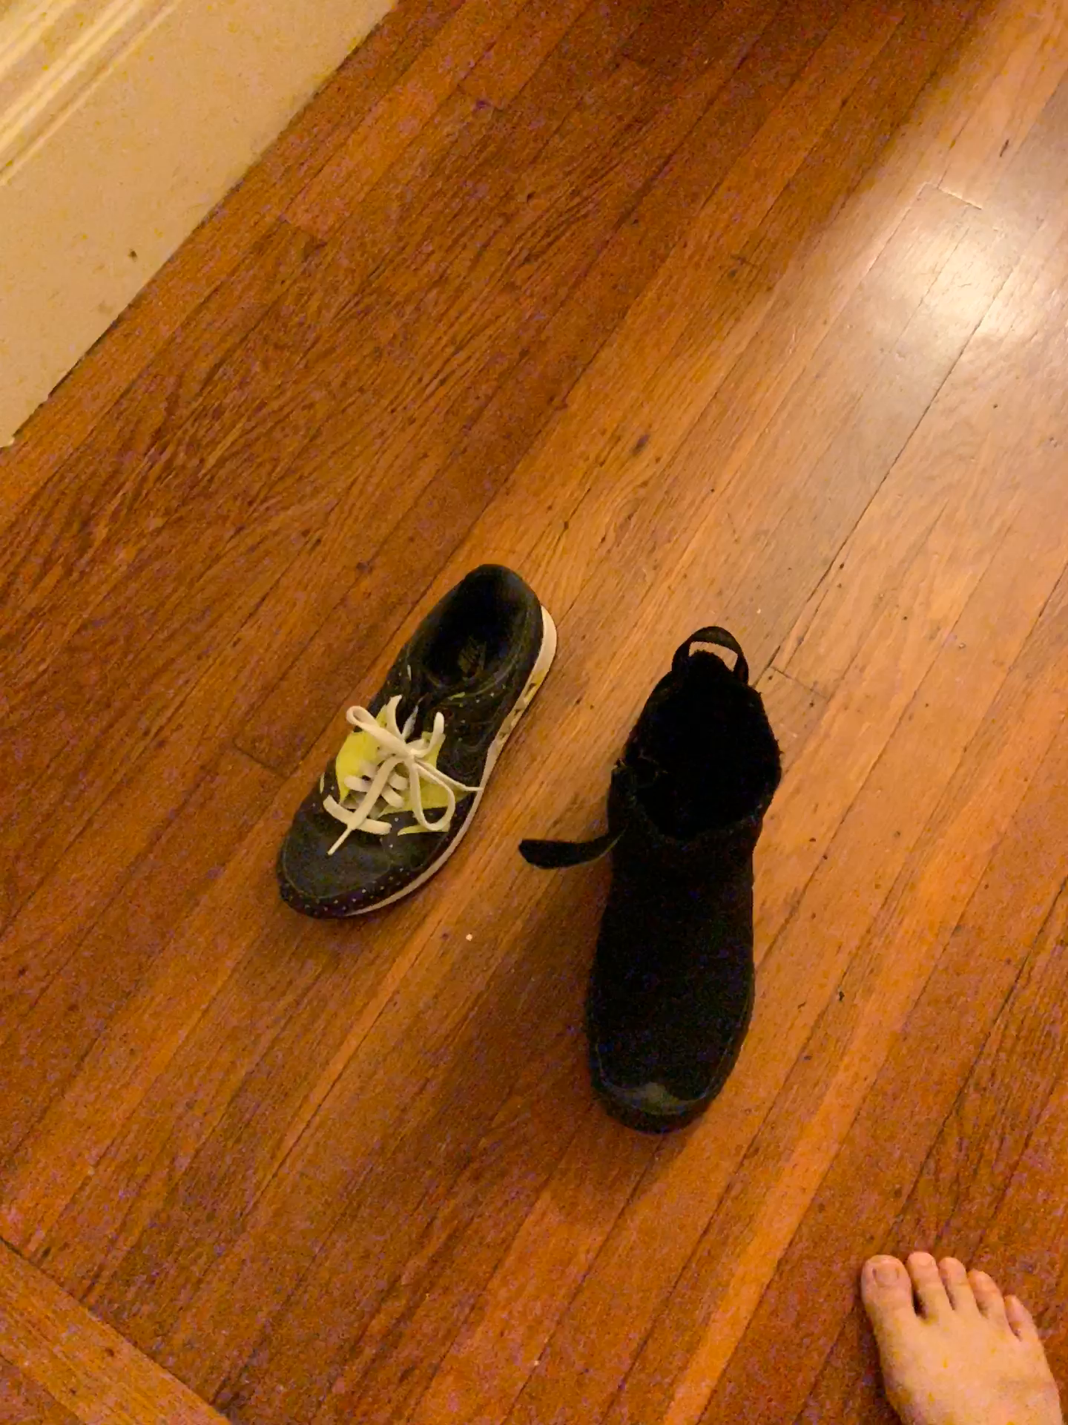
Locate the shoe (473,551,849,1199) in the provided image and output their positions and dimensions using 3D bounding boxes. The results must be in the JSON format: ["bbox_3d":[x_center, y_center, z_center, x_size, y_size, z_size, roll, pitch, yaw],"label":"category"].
[{"bbox_3d":[0.073,0.103,0.667,0.160,0.240,0.310,7,73,3],"label":"shoe"}]

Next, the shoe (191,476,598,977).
[{"bbox_3d":[-0.079,0.009,0.714,0.120,0.100,0.290,26,75,9],"label":"shoe"}]
